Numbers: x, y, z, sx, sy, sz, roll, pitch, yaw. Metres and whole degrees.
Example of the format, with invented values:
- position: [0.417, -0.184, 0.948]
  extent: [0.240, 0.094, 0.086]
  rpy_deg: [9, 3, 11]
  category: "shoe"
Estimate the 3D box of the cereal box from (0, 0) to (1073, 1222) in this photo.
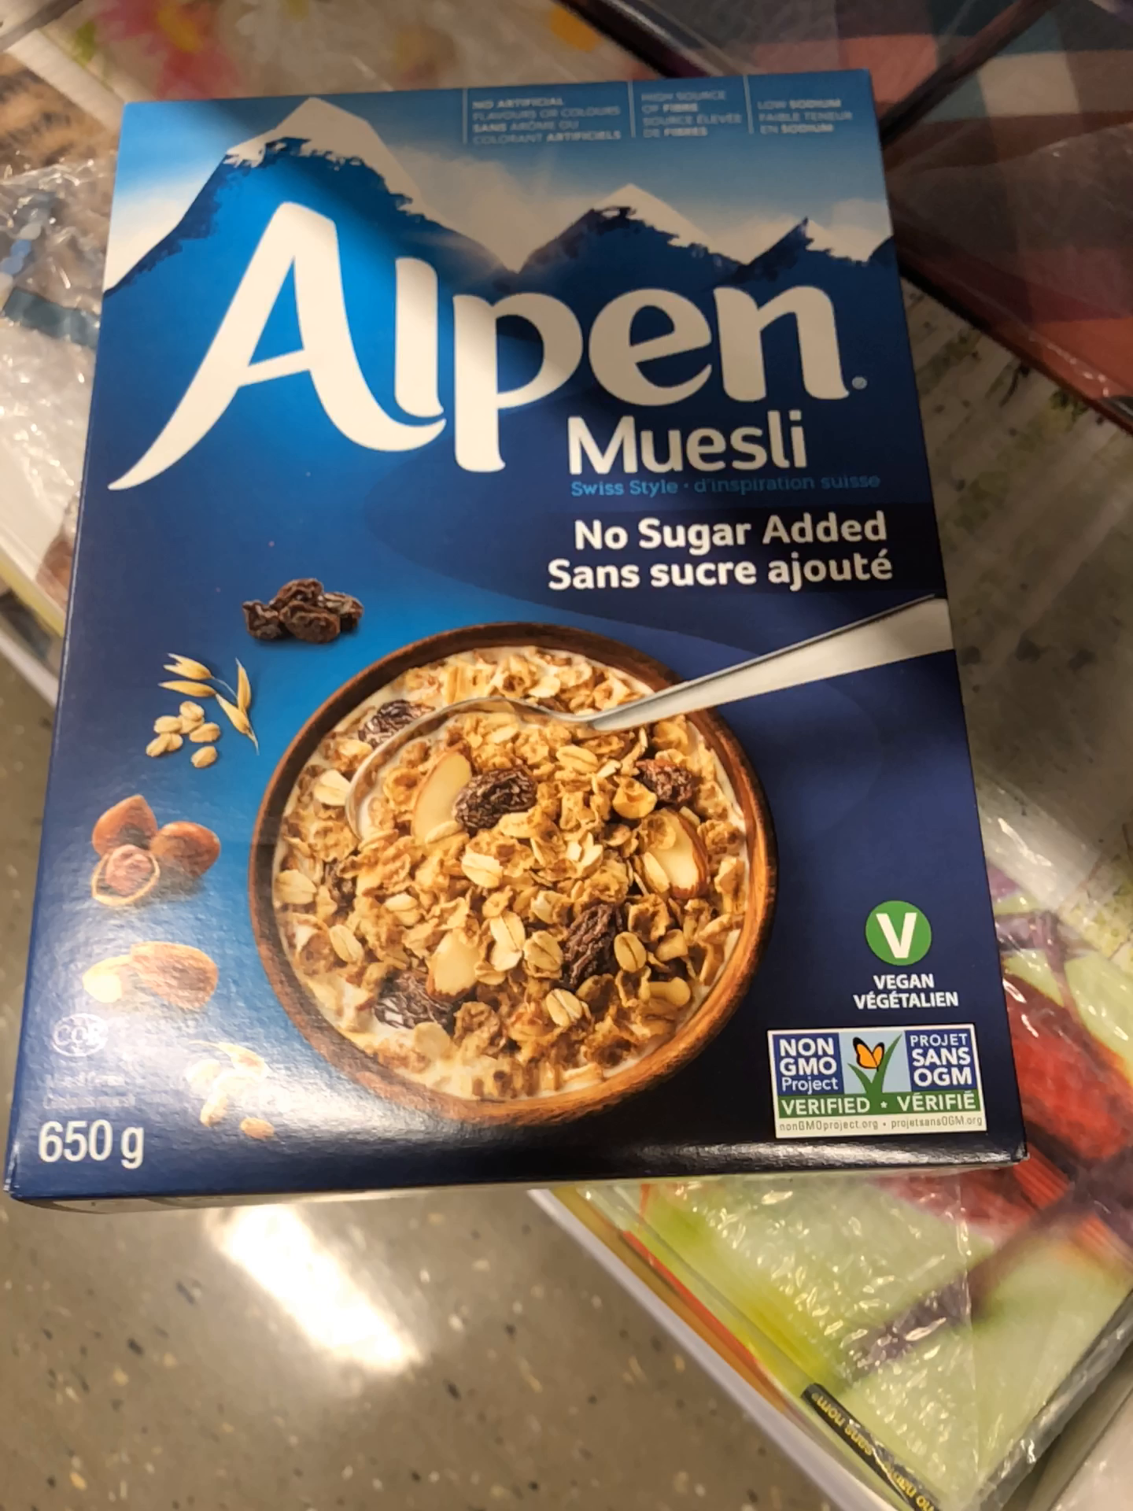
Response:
- position: [-0.017, -0.047, 0.276]
  extent: [0.190, 0.050, 0.270]
  rpy_deg: [-3, 71, 0]
  category: "cereal box"
